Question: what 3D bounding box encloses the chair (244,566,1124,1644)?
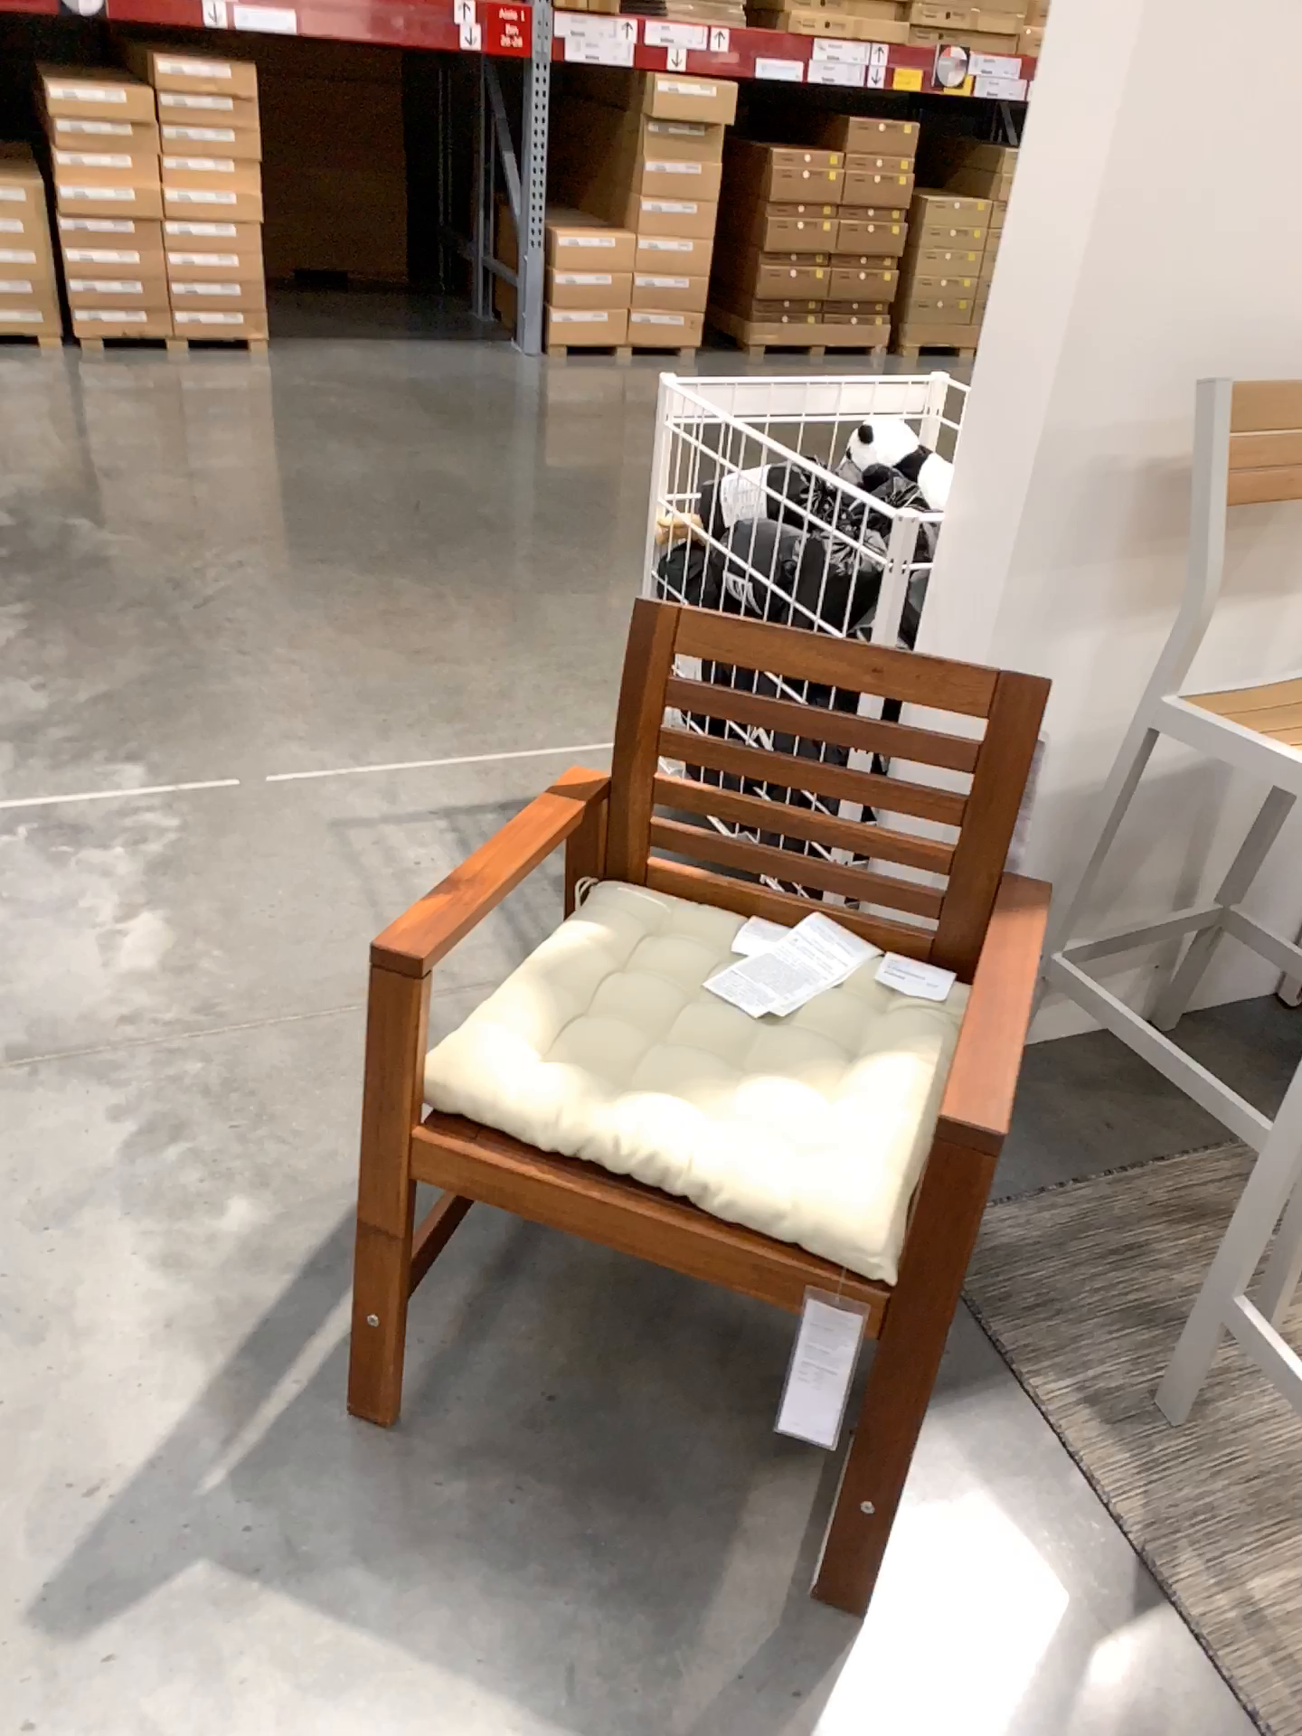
[{"bbox_3d":[0.075,0.181,1.431,0.651,0.706,0.723,14,33,13],"label":"chair"}]
